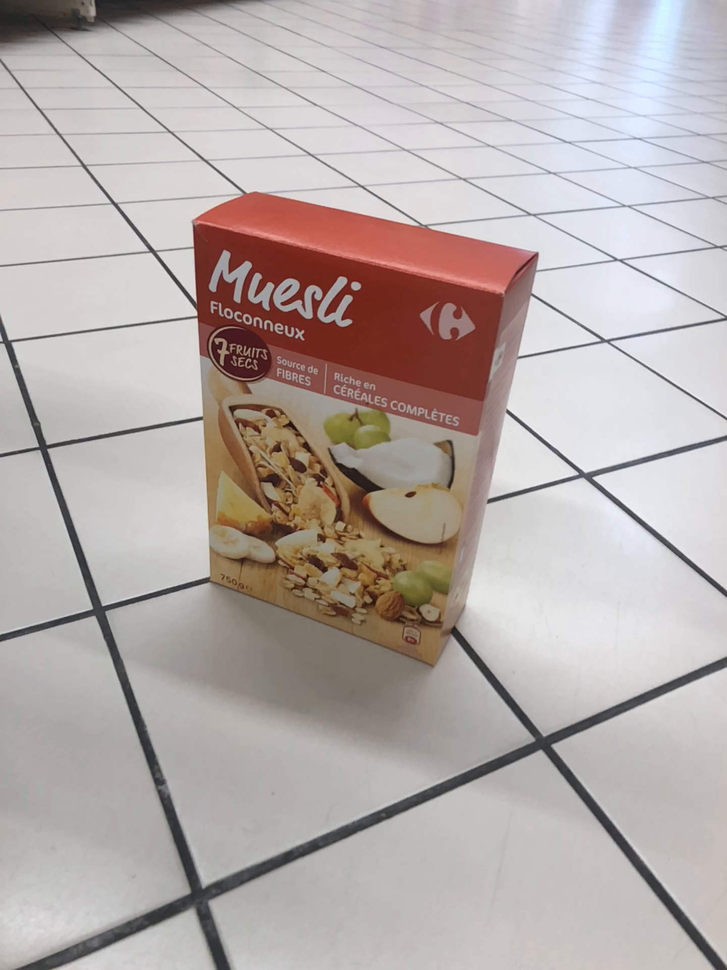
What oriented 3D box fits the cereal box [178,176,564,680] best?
[{"bbox_3d":[-0.004,-0.028,0.455,0.170,0.238,0.081,18,37,17],"label":"cereal box"}]
